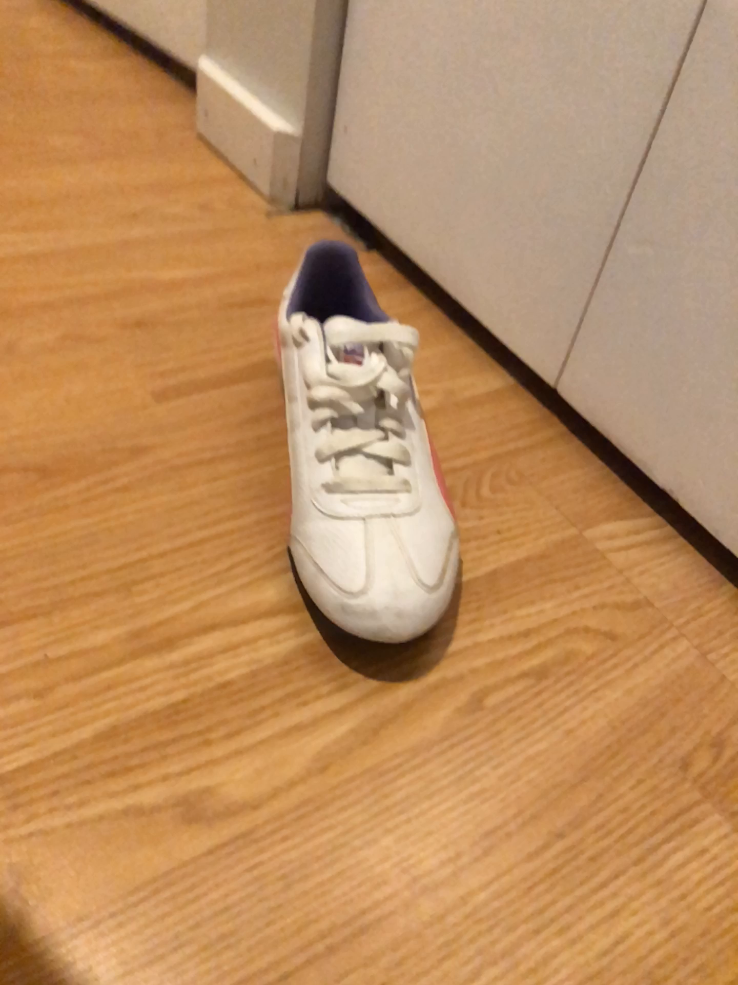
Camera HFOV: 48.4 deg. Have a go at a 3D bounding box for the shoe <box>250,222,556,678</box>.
[{"bbox_3d":[-0.002,-0.040,0.433,0.100,0.080,0.261,0,45,-13],"label":"shoe"}]
